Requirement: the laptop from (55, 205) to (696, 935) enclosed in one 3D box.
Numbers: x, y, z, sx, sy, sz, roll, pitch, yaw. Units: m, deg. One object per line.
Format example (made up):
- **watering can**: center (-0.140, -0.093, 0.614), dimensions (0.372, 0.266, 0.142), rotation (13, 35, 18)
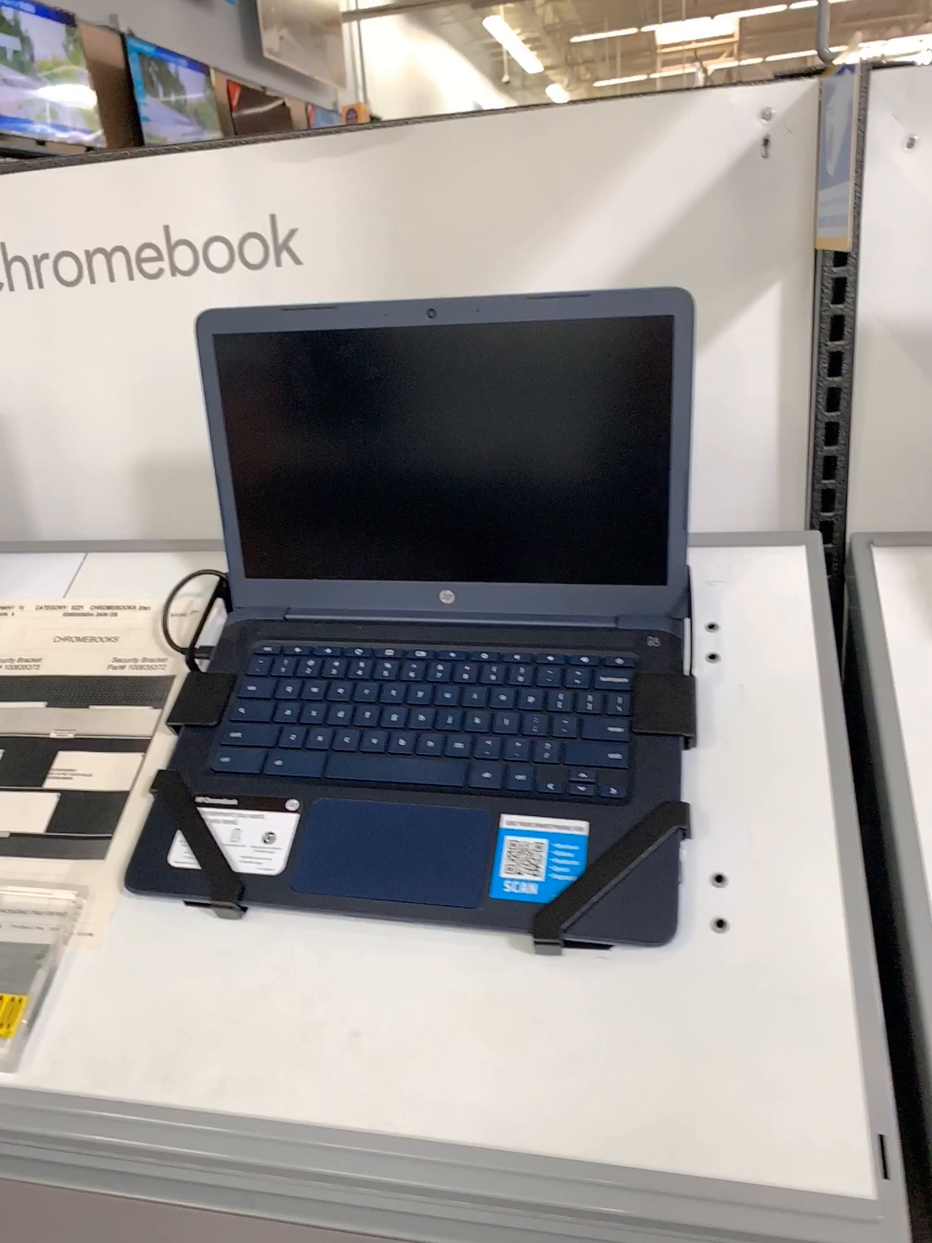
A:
- **laptop**: center (-0.024, -0.058, 0.605), dimensions (0.317, 0.189, 0.324), rotation (1, 42, 14)
